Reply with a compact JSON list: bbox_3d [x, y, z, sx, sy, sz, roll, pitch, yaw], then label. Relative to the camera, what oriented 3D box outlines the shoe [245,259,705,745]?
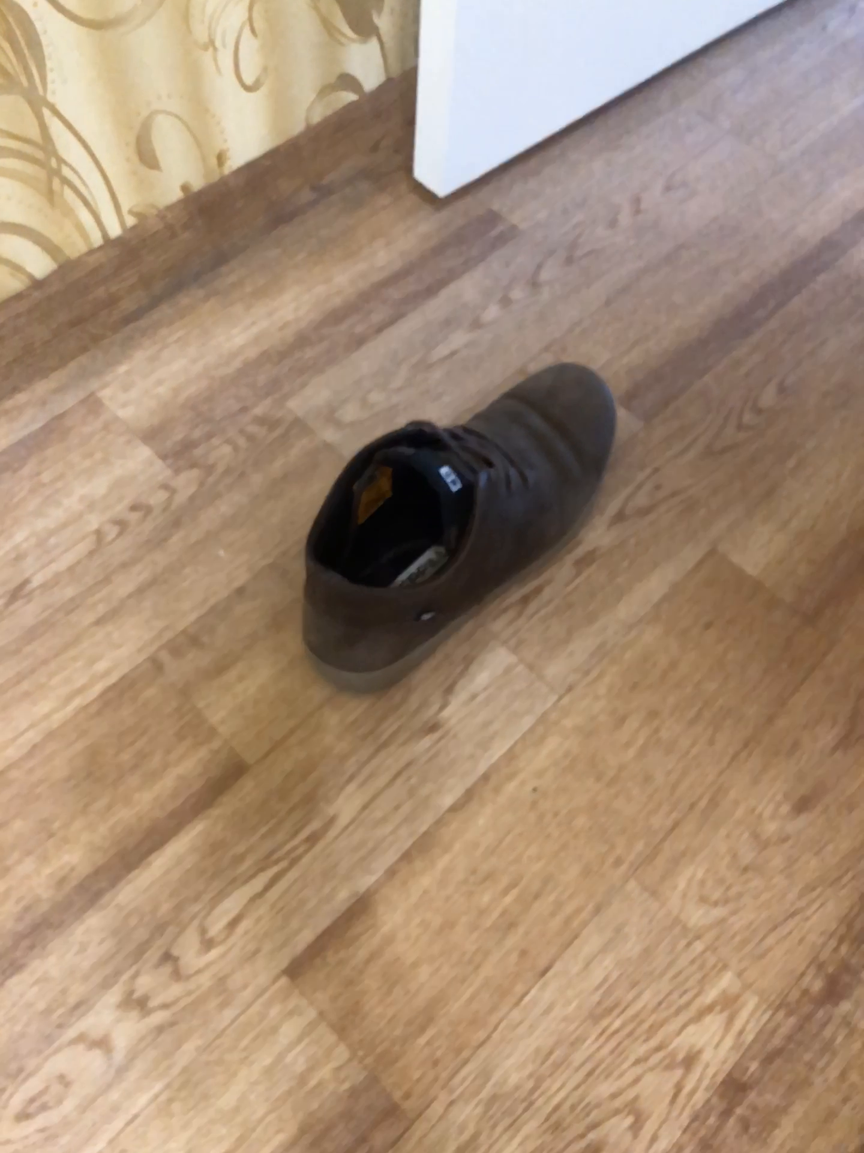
[{"bbox_3d":[0.030,-0.049,0.566,0.100,0.110,0.270,37,65,17],"label":"shoe"}]
